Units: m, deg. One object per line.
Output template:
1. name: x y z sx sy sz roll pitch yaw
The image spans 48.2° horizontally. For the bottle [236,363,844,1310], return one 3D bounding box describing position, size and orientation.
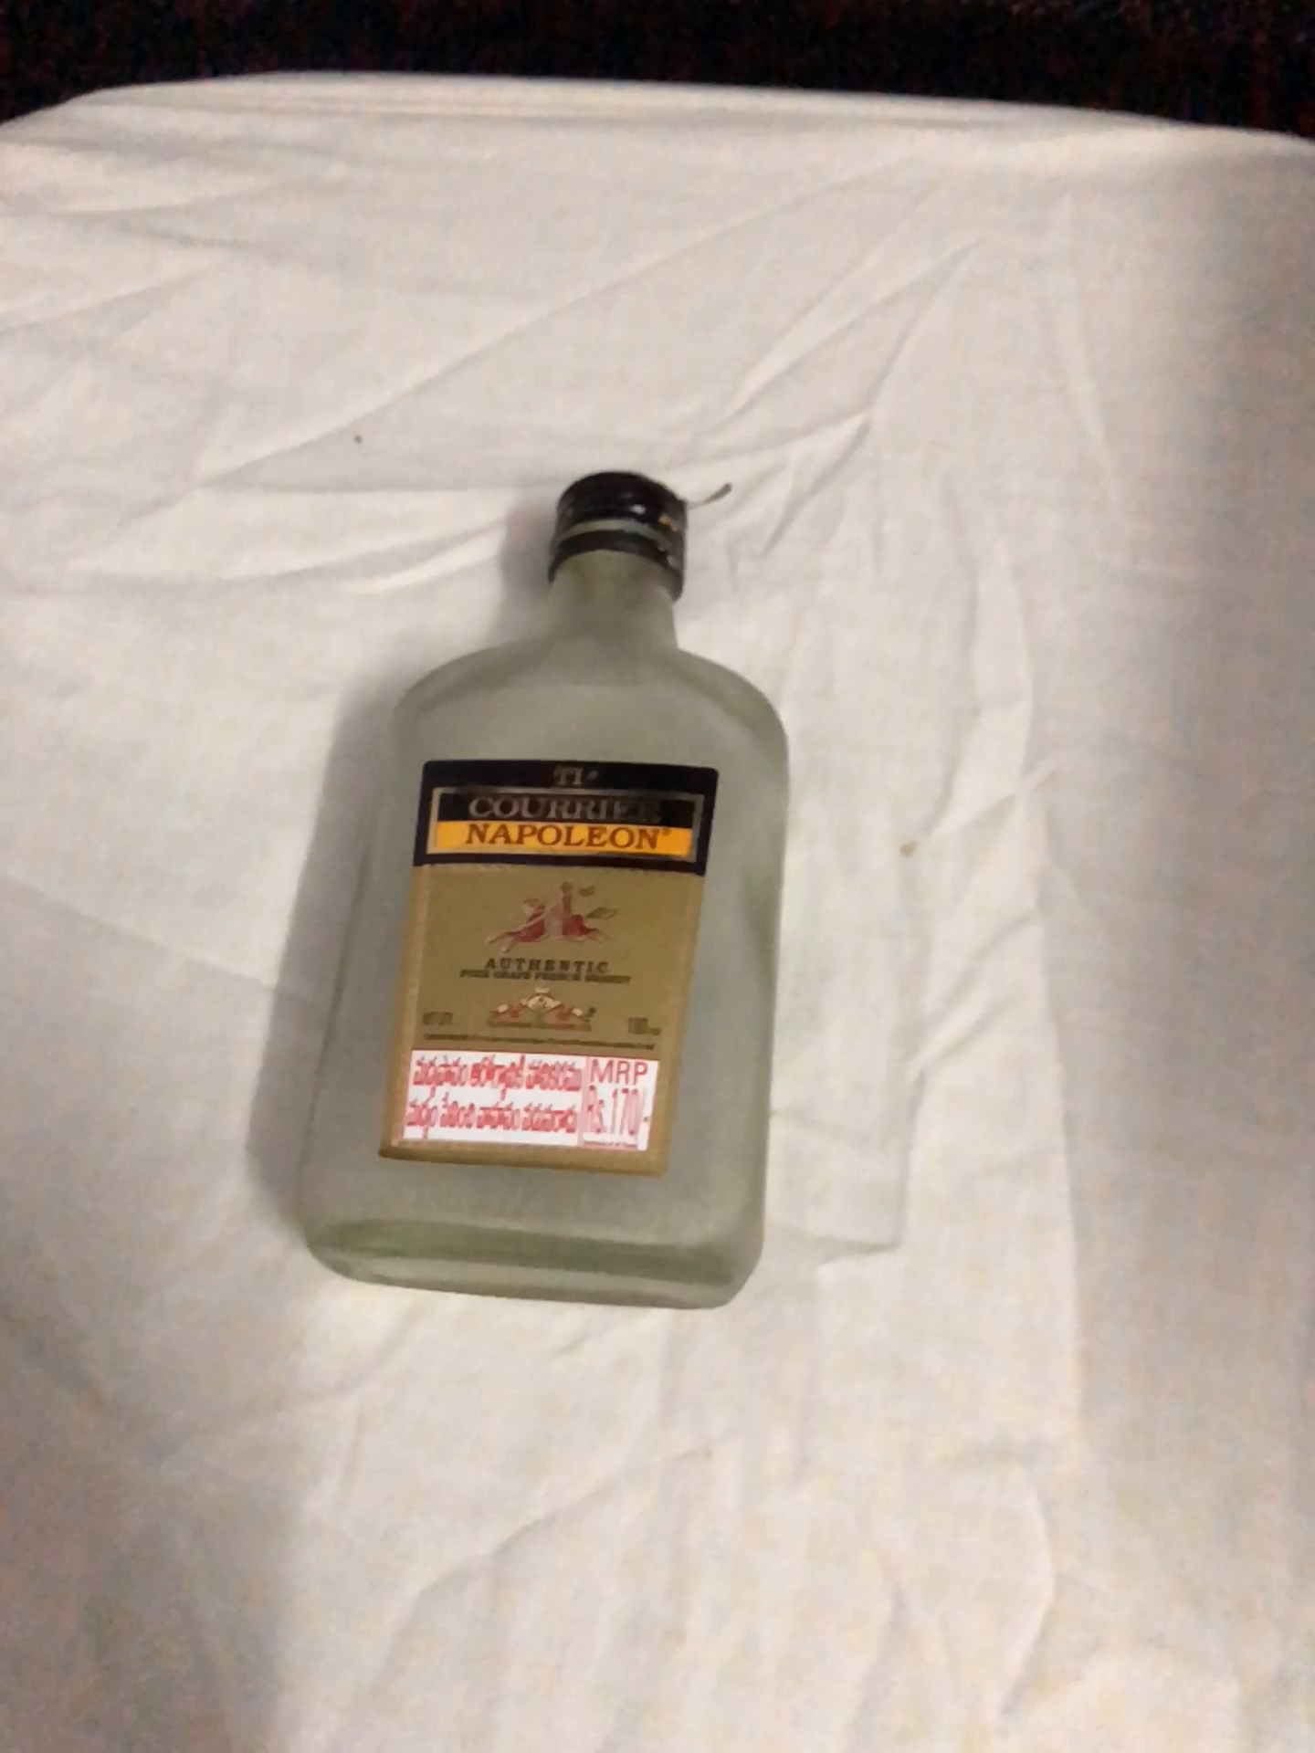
1. bottle: -0.012 -0.013 0.257 0.080 0.040 0.160 3 65 5
